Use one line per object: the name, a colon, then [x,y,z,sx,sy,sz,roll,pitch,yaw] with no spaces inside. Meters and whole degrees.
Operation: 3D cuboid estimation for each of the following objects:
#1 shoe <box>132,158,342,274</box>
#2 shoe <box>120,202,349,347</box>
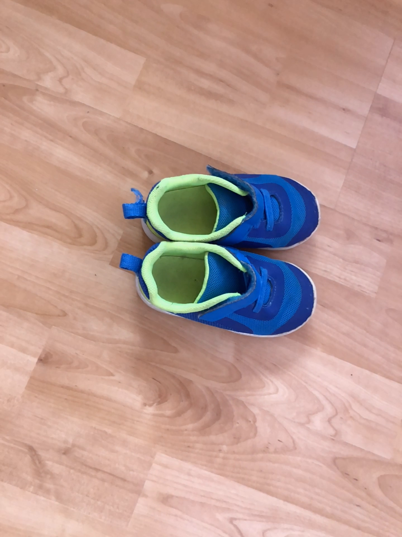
shoe: [0.025,-0.042,0.376,0.160,0.070,0.080,-2,82,-7]
shoe: [0.024,0.009,0.361,0.160,0.070,0.080,10,81,-5]
